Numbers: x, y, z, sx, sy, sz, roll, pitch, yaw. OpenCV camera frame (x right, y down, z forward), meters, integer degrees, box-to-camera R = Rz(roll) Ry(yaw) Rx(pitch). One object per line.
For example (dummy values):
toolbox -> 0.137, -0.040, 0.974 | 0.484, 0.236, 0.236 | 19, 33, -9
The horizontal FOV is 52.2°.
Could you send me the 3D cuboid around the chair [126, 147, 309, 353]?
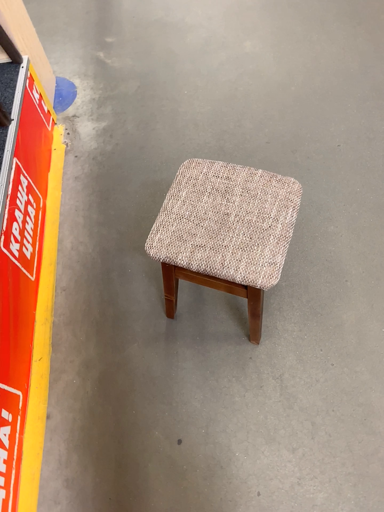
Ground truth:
chair -> 0.090, 0.006, 1.159 | 0.360, 0.479, 0.340 | 14, 63, 13
